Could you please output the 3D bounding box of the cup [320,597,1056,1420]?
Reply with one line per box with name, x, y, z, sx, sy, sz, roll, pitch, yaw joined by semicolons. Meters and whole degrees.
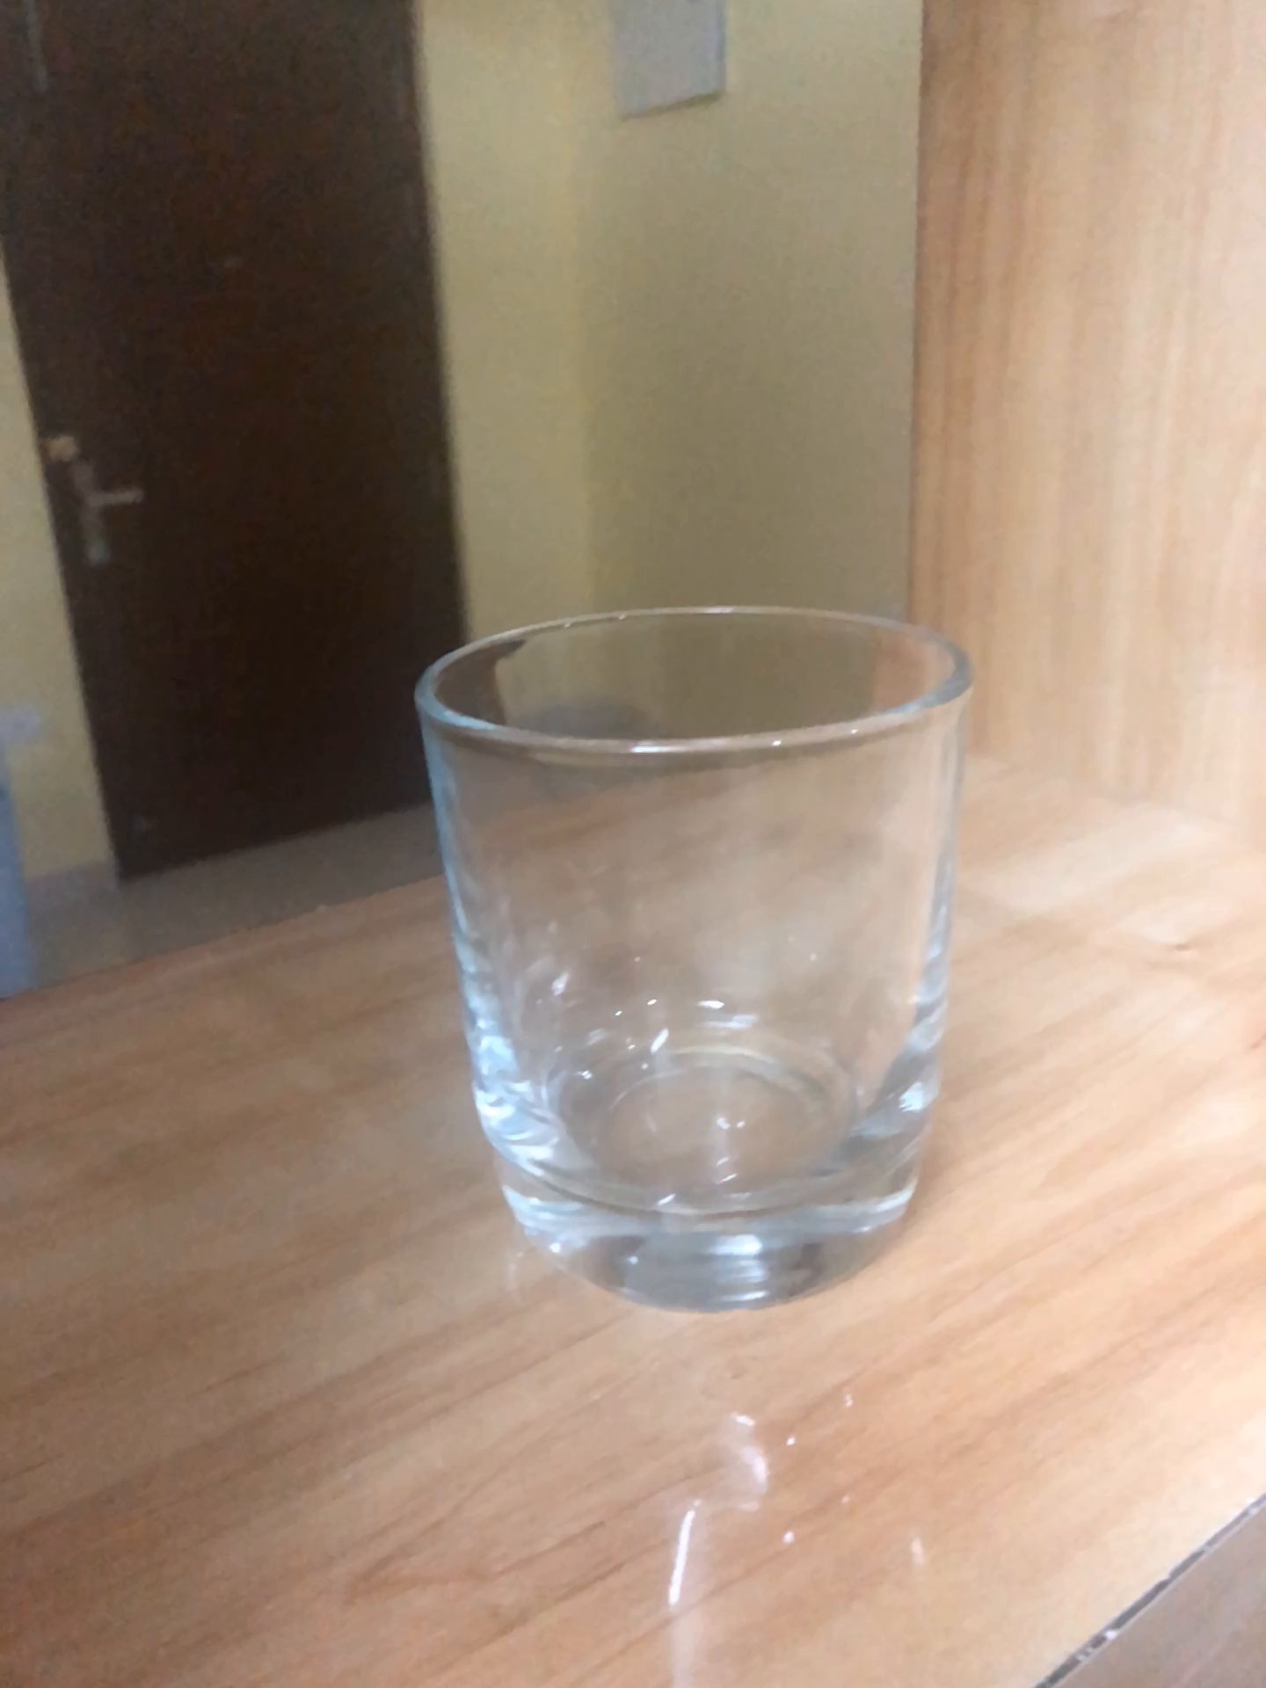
cup;0.003;0.017;0.221;0.090;0.090;0.080;-7;21;-10
